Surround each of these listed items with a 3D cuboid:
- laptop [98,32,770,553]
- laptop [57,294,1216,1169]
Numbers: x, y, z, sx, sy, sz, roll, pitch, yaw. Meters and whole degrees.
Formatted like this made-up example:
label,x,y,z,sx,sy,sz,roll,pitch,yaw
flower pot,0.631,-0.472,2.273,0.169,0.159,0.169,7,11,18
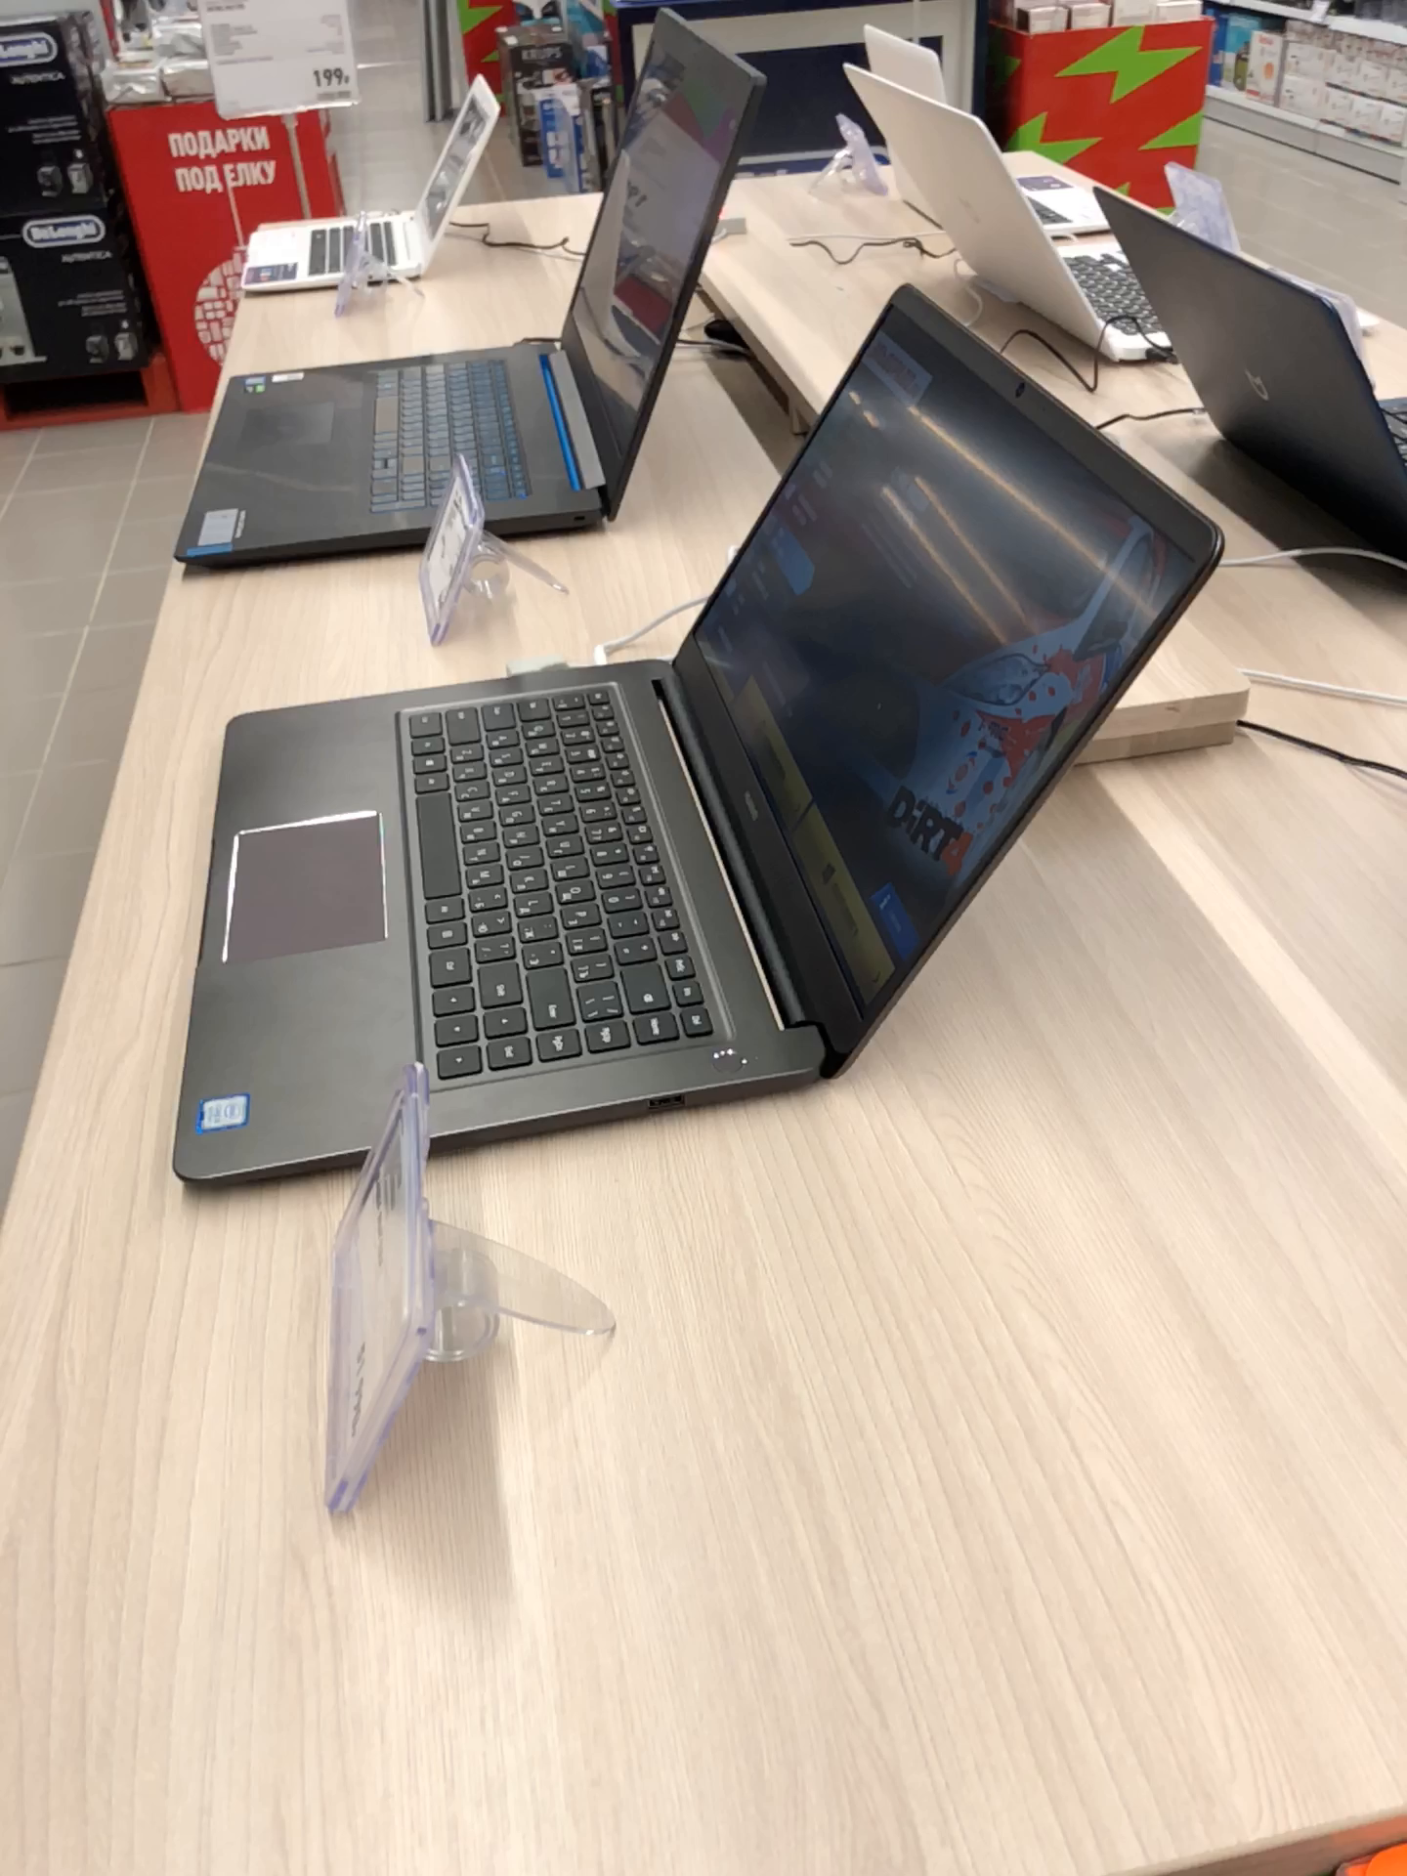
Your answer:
label,x,y,z,sx,sy,sz,roll,pitch,yaw
laptop,-0.181,-0.485,1.120,0.378,0.242,0.394,-7,36,-5
laptop,-0.039,-0.119,0.660,0.357,0.180,0.346,-10,36,-7
